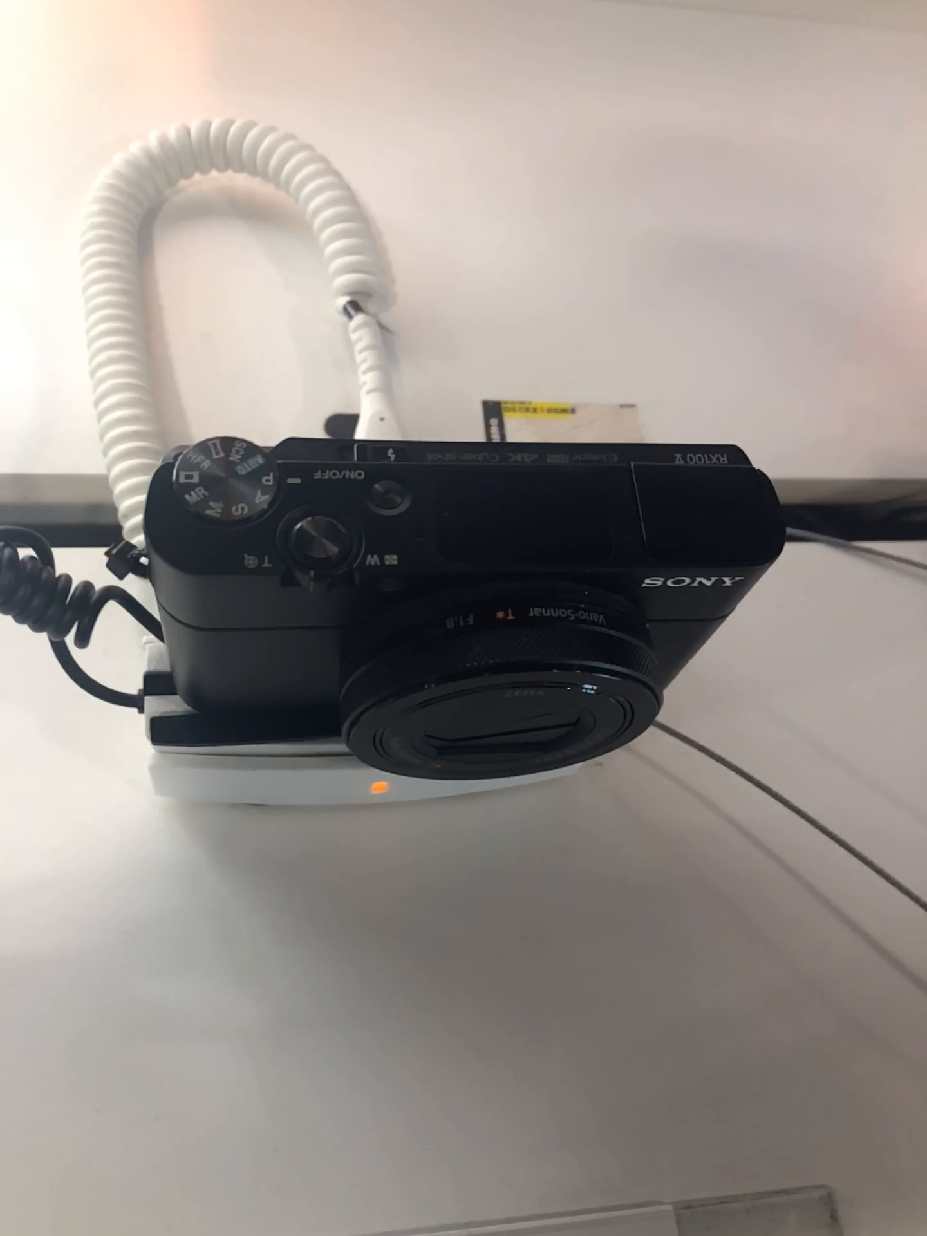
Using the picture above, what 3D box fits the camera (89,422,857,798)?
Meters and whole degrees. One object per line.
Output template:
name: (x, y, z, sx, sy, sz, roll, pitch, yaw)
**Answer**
camera: (-0.002, 0.002, 0.168, 0.101, 0.063, 0.032, -1, 63, -10)
